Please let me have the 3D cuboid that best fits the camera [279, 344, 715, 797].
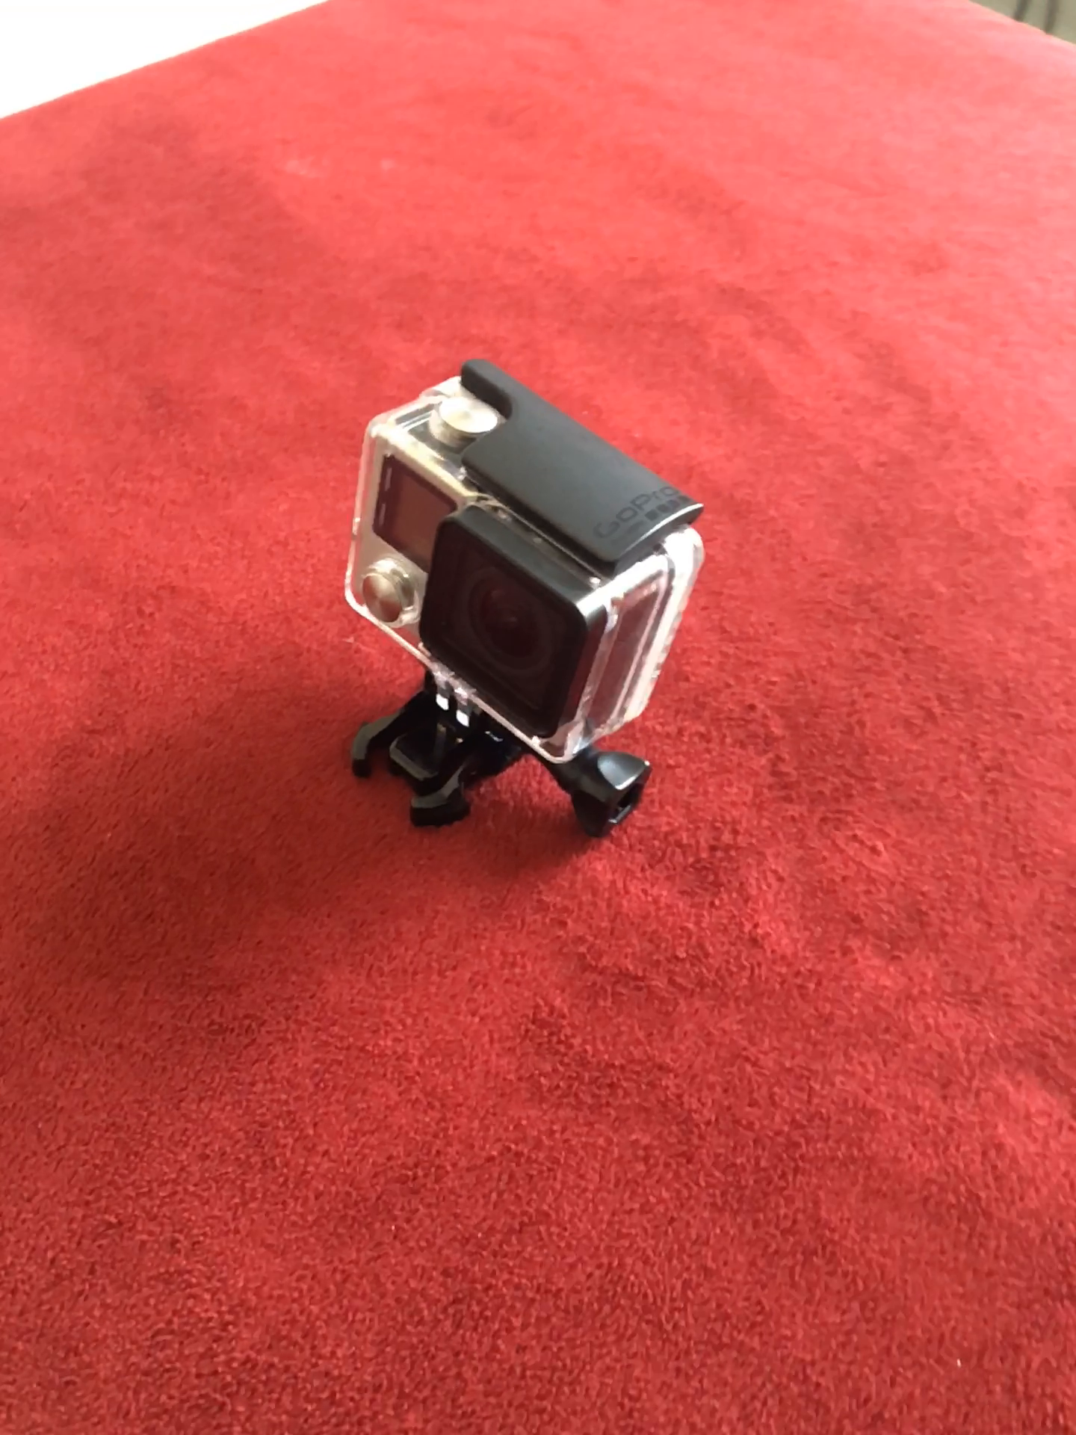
[{"bbox_3d":[-0.012,-0.031,0.238,0.073,0.050,0.040,35,48,23],"label":"camera"}]
